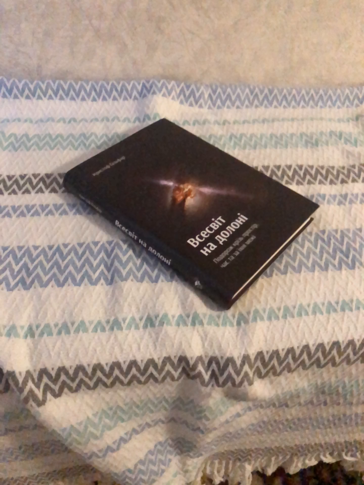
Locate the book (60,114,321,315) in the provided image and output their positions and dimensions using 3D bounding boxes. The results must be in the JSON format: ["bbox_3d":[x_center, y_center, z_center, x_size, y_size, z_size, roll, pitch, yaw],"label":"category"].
[{"bbox_3d":[0.008,-0.049,0.434,0.225,0.030,0.162,35,55,23],"label":"book"}]
